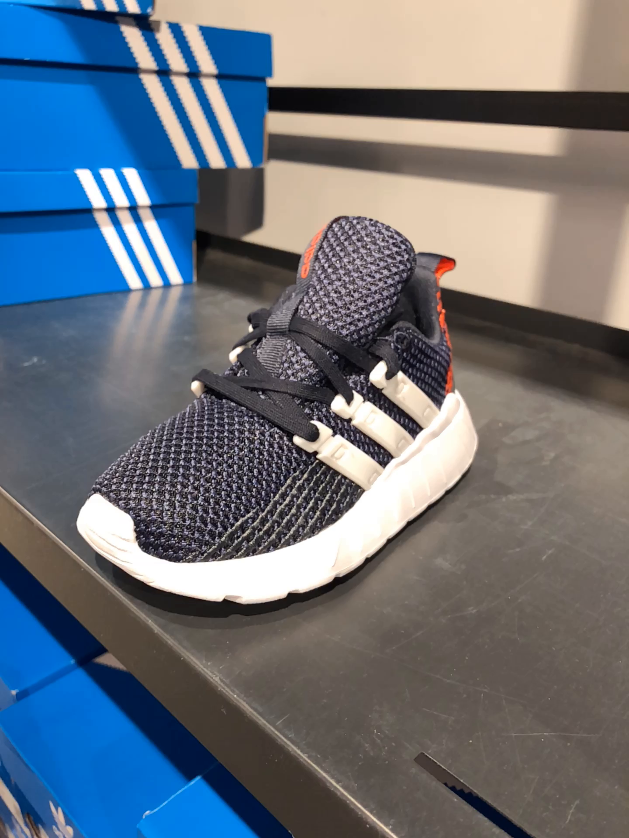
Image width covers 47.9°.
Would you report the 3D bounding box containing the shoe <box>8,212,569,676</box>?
[{"bbox_3d":[0.003,-0.014,0.284,0.200,0.110,0.090,-20,32,-41],"label":"shoe"}]
